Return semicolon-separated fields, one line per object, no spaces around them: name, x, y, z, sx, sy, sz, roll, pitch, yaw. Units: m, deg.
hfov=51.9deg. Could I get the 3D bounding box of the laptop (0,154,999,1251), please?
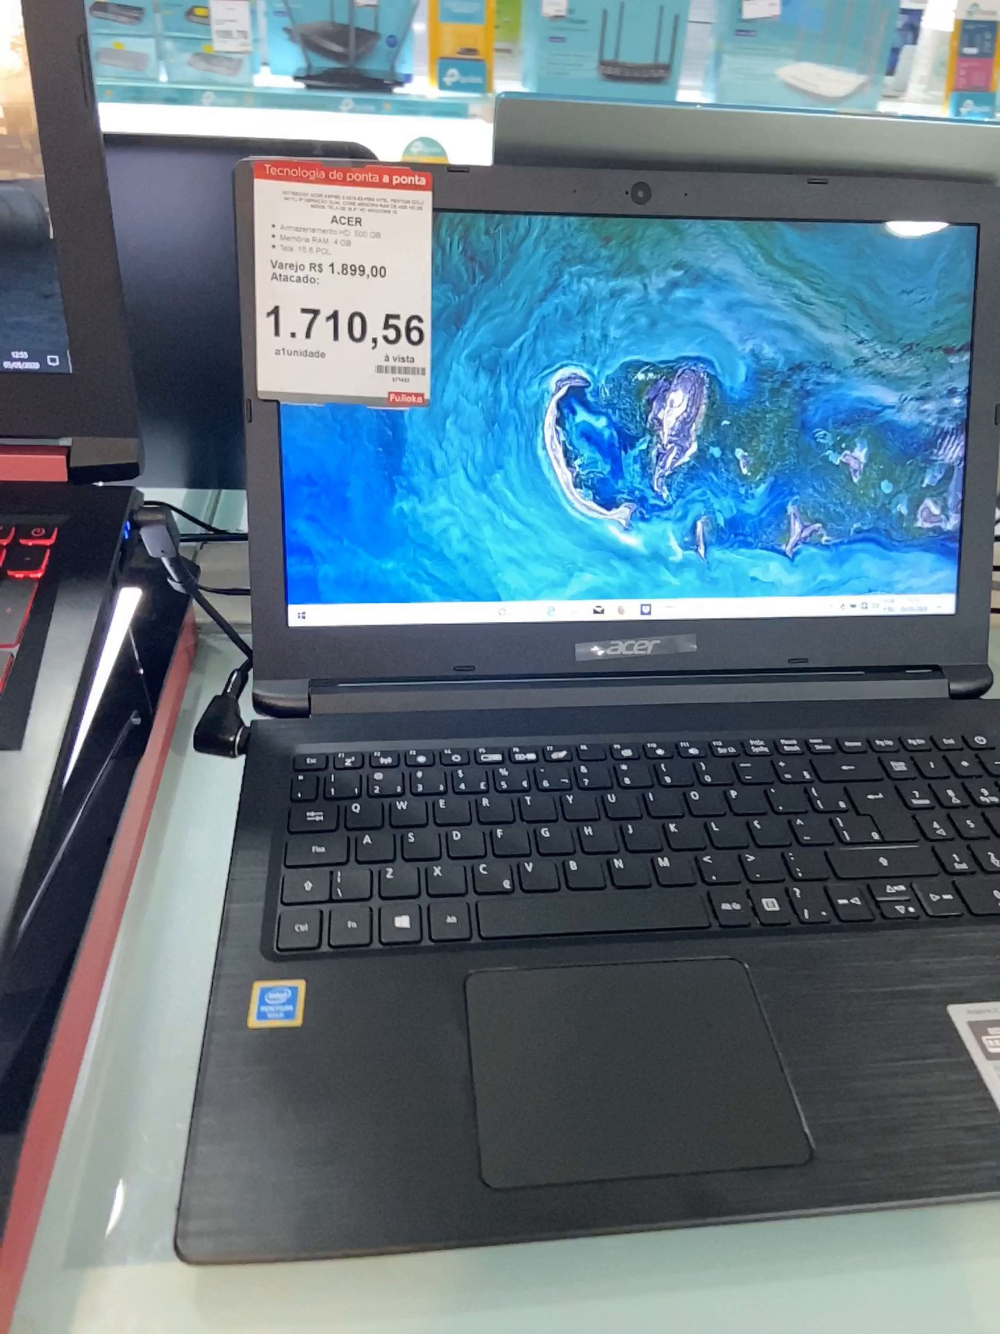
laptop;0.078;-0.038;0.405;0.377;0.216;0.382;-1;36;-7
